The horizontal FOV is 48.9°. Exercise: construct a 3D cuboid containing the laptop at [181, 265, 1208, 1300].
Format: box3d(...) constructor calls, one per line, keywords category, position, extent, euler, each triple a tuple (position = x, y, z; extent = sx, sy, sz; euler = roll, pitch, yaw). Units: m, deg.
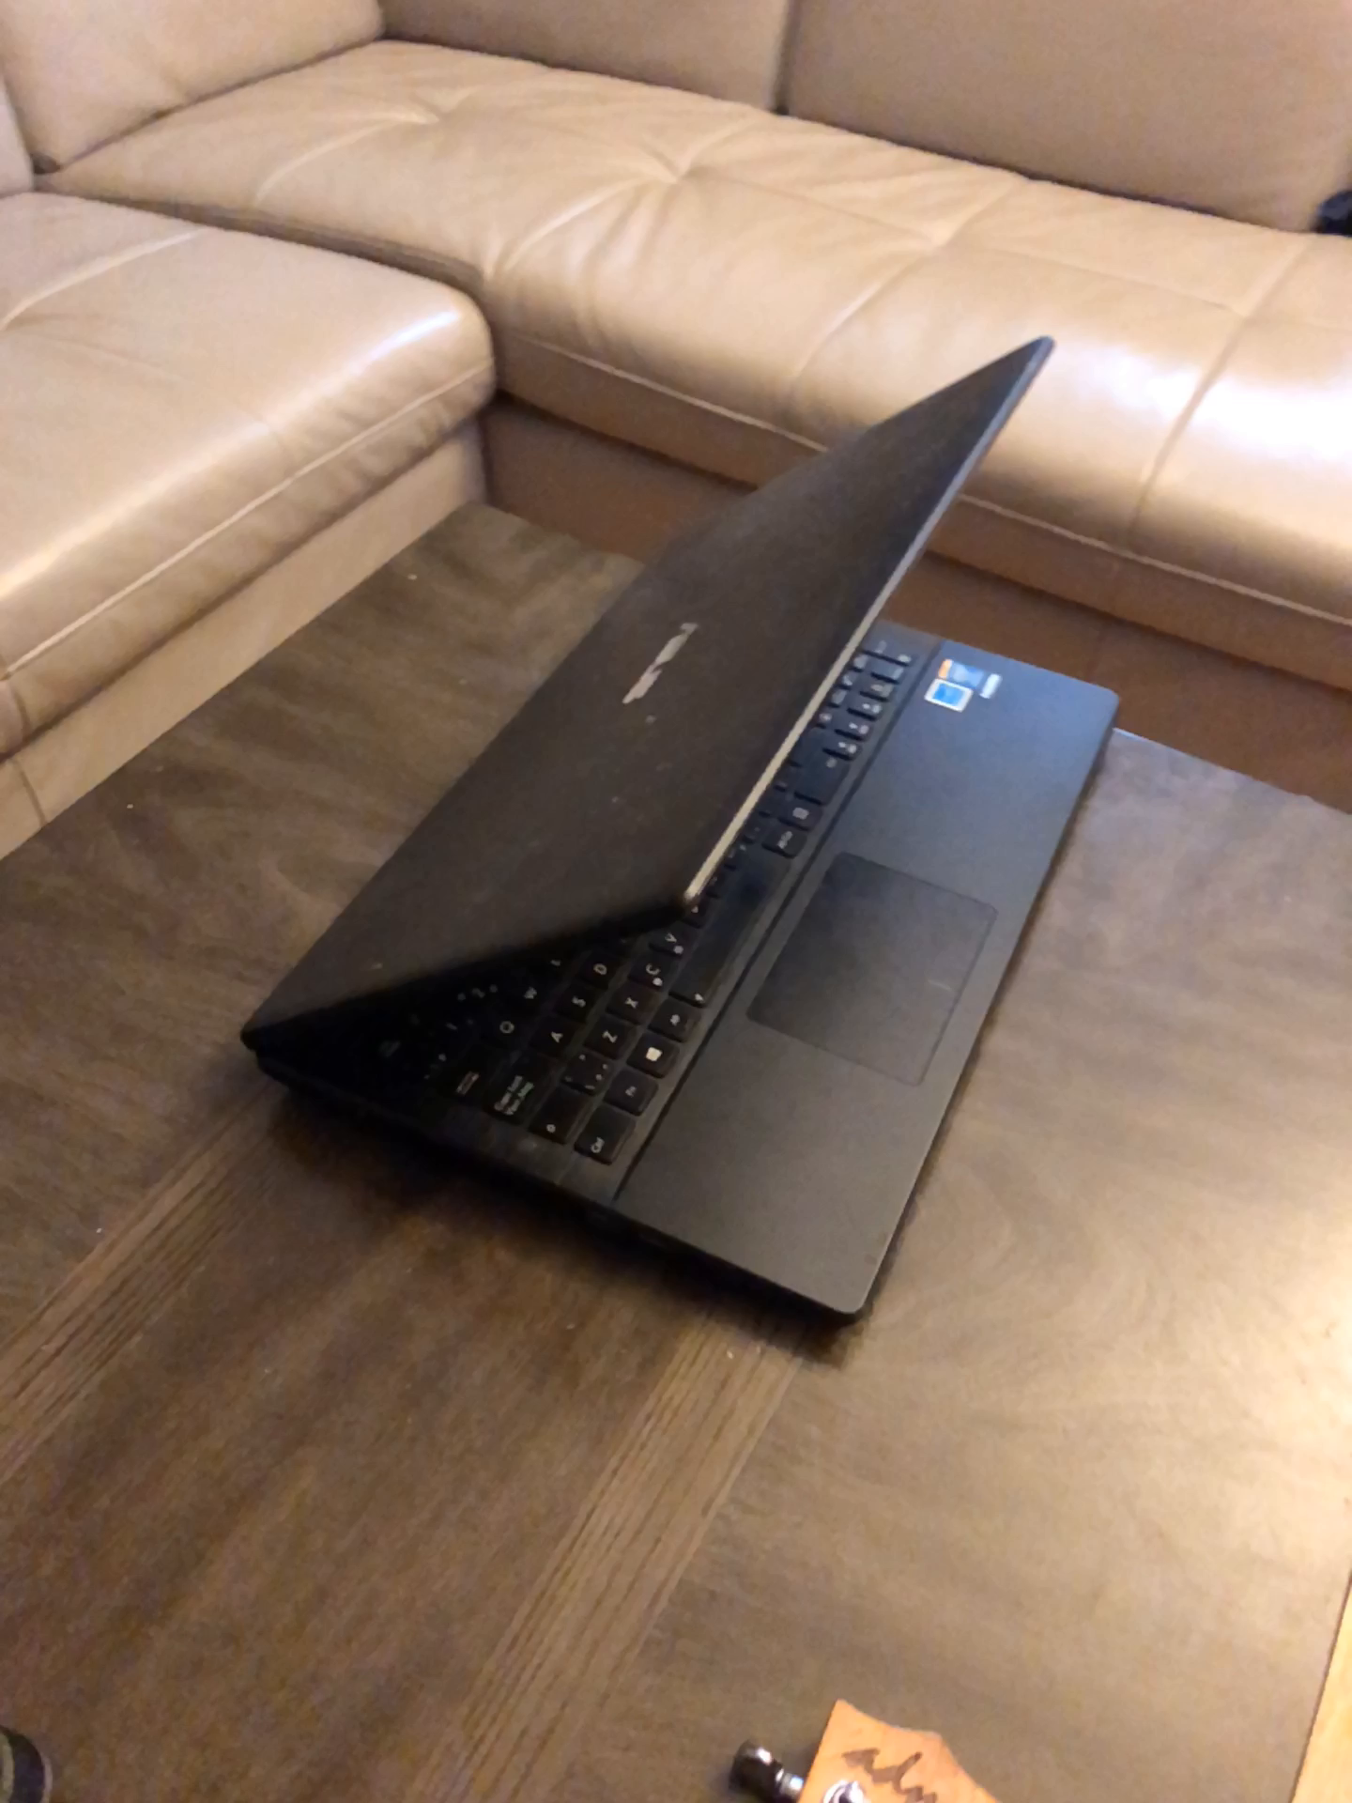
box3d(category="laptop", position=(0.035, -0.080, 0.600), extent=(0.238, 0.164, 0.374), euler=(20, 49, 16))
